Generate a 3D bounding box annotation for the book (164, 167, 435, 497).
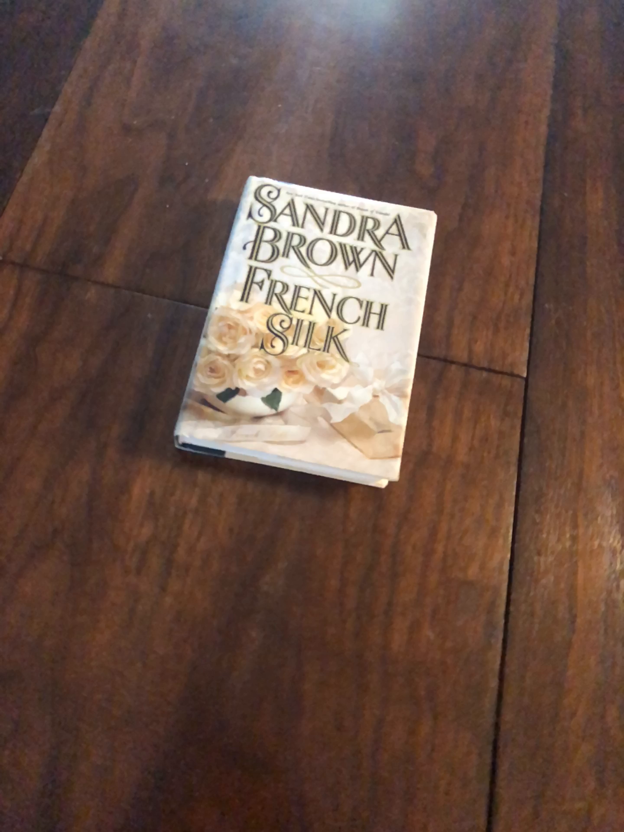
[{"bbox_3d":[-0.001,-0.072,0.530,0.161,0.033,0.240,11,67,0],"label":"book"}]
